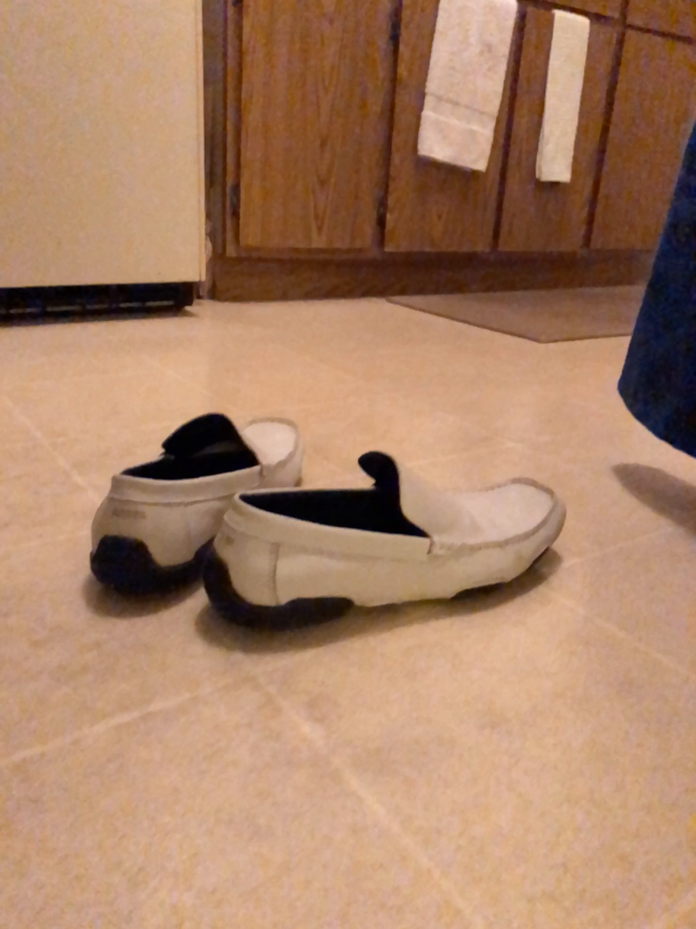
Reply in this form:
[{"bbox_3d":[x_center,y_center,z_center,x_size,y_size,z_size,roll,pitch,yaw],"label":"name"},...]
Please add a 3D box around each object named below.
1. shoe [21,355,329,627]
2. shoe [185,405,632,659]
[{"bbox_3d":[-0.110,-0.003,0.608,0.110,0.097,0.308,8,21,12],"label":"shoe"},{"bbox_3d":[0.044,0.032,0.538,0.290,0.097,0.111,-7,23,-27],"label":"shoe"}]
